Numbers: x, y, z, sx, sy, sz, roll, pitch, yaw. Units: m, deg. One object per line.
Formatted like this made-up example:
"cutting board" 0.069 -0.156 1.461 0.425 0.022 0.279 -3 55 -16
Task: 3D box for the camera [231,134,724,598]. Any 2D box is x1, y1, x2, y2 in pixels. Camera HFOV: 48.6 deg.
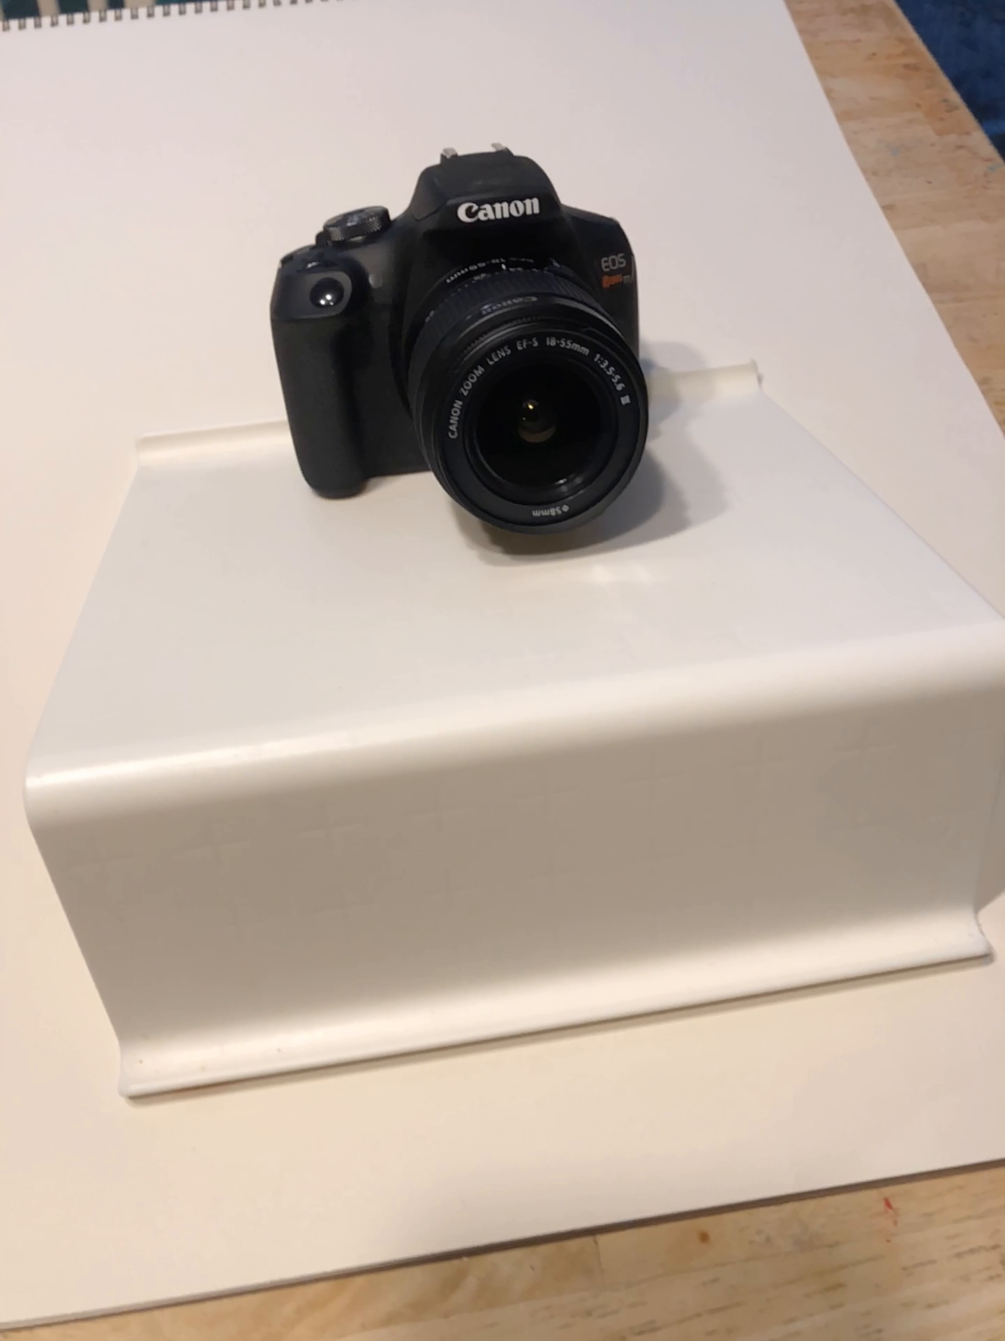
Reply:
"camera" -0.011 -0.108 0.366 0.125 0.104 0.141 -7 30 -5
